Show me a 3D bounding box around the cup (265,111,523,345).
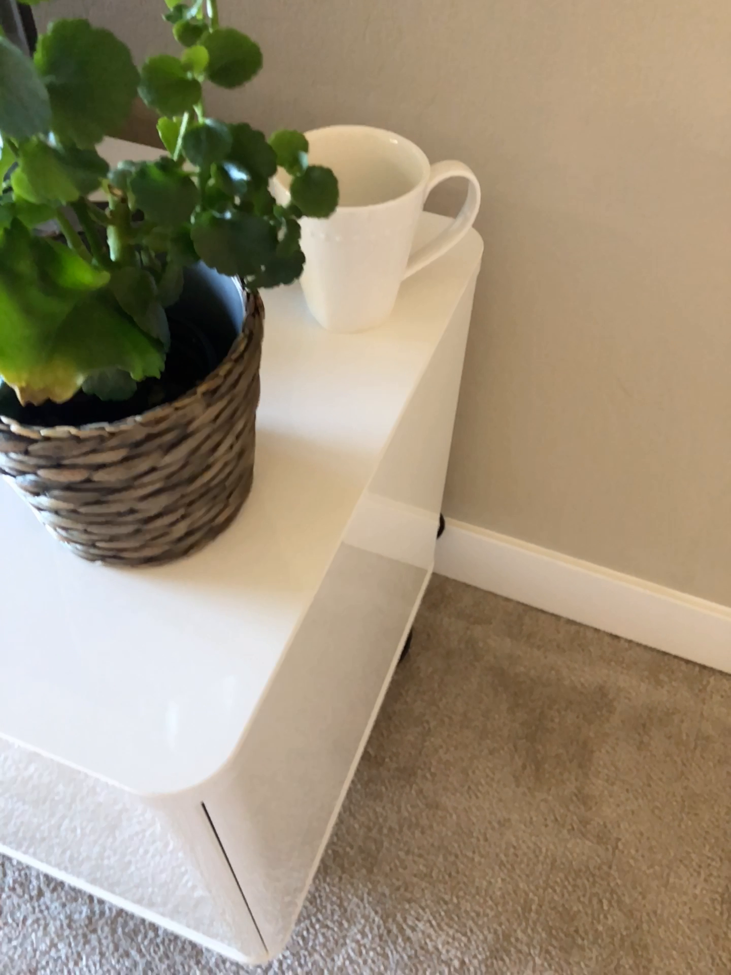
[{"bbox_3d":[0.013,-0.164,0.509,0.130,0.090,0.090,-12,52,-11],"label":"cup"}]
